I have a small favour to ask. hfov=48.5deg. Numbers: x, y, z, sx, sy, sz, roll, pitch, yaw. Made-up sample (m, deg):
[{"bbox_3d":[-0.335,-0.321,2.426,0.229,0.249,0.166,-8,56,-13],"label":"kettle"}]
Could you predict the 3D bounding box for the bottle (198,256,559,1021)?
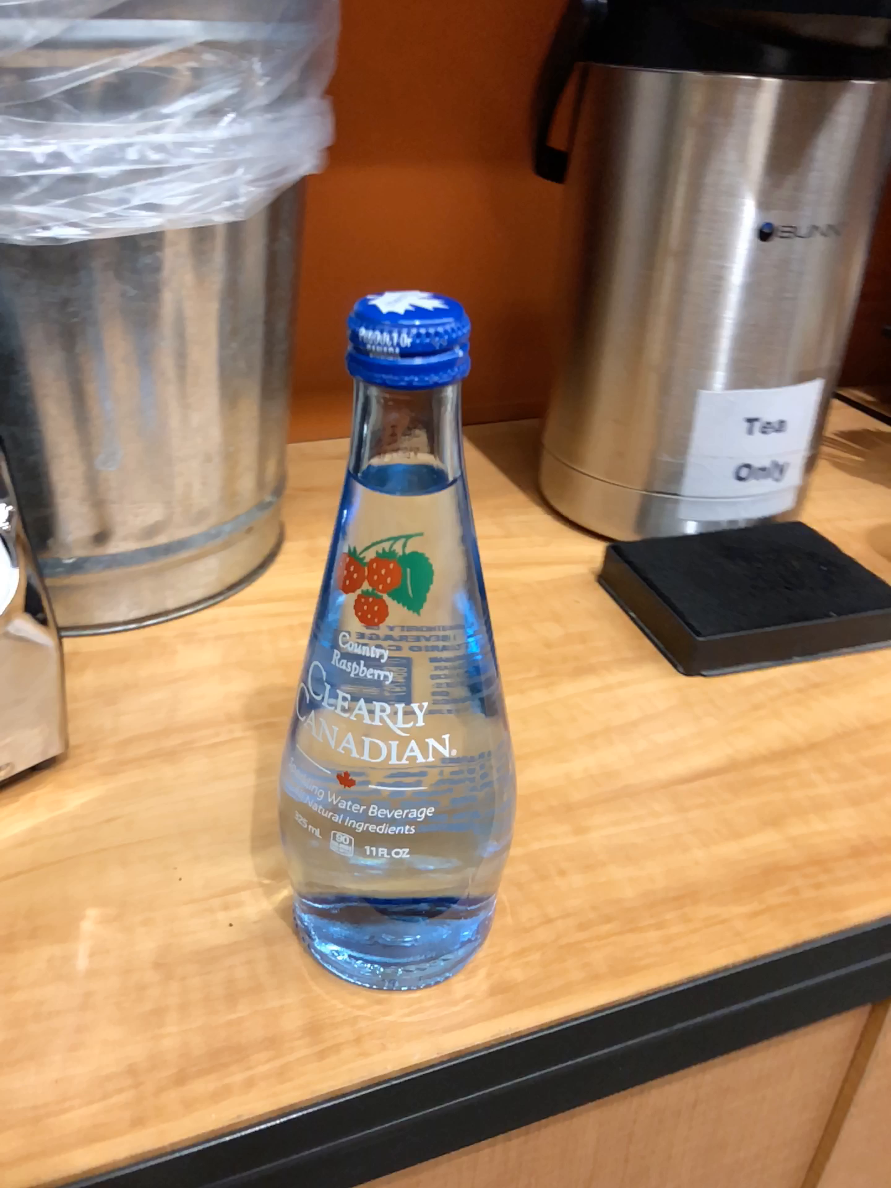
[{"bbox_3d":[-0.015,0.017,0.261,0.060,0.189,0.060,2,30,-1],"label":"bottle"}]
